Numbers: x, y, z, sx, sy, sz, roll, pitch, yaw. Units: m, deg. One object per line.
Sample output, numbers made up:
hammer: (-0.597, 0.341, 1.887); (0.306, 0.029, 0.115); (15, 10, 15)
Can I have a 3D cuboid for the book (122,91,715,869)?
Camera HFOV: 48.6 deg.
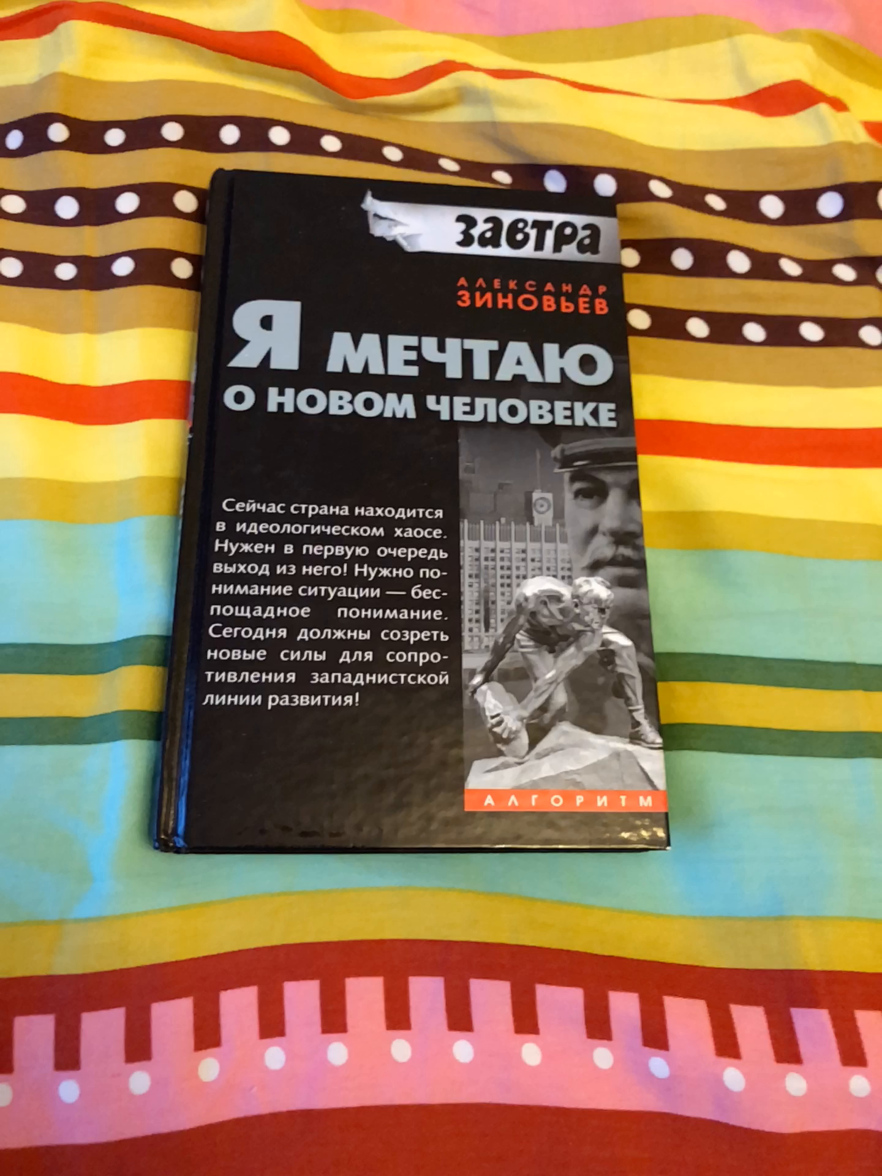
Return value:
book: (-0.004, -0.035, 0.277); (0.140, 0.030, 0.220); (2, 72, -6)
